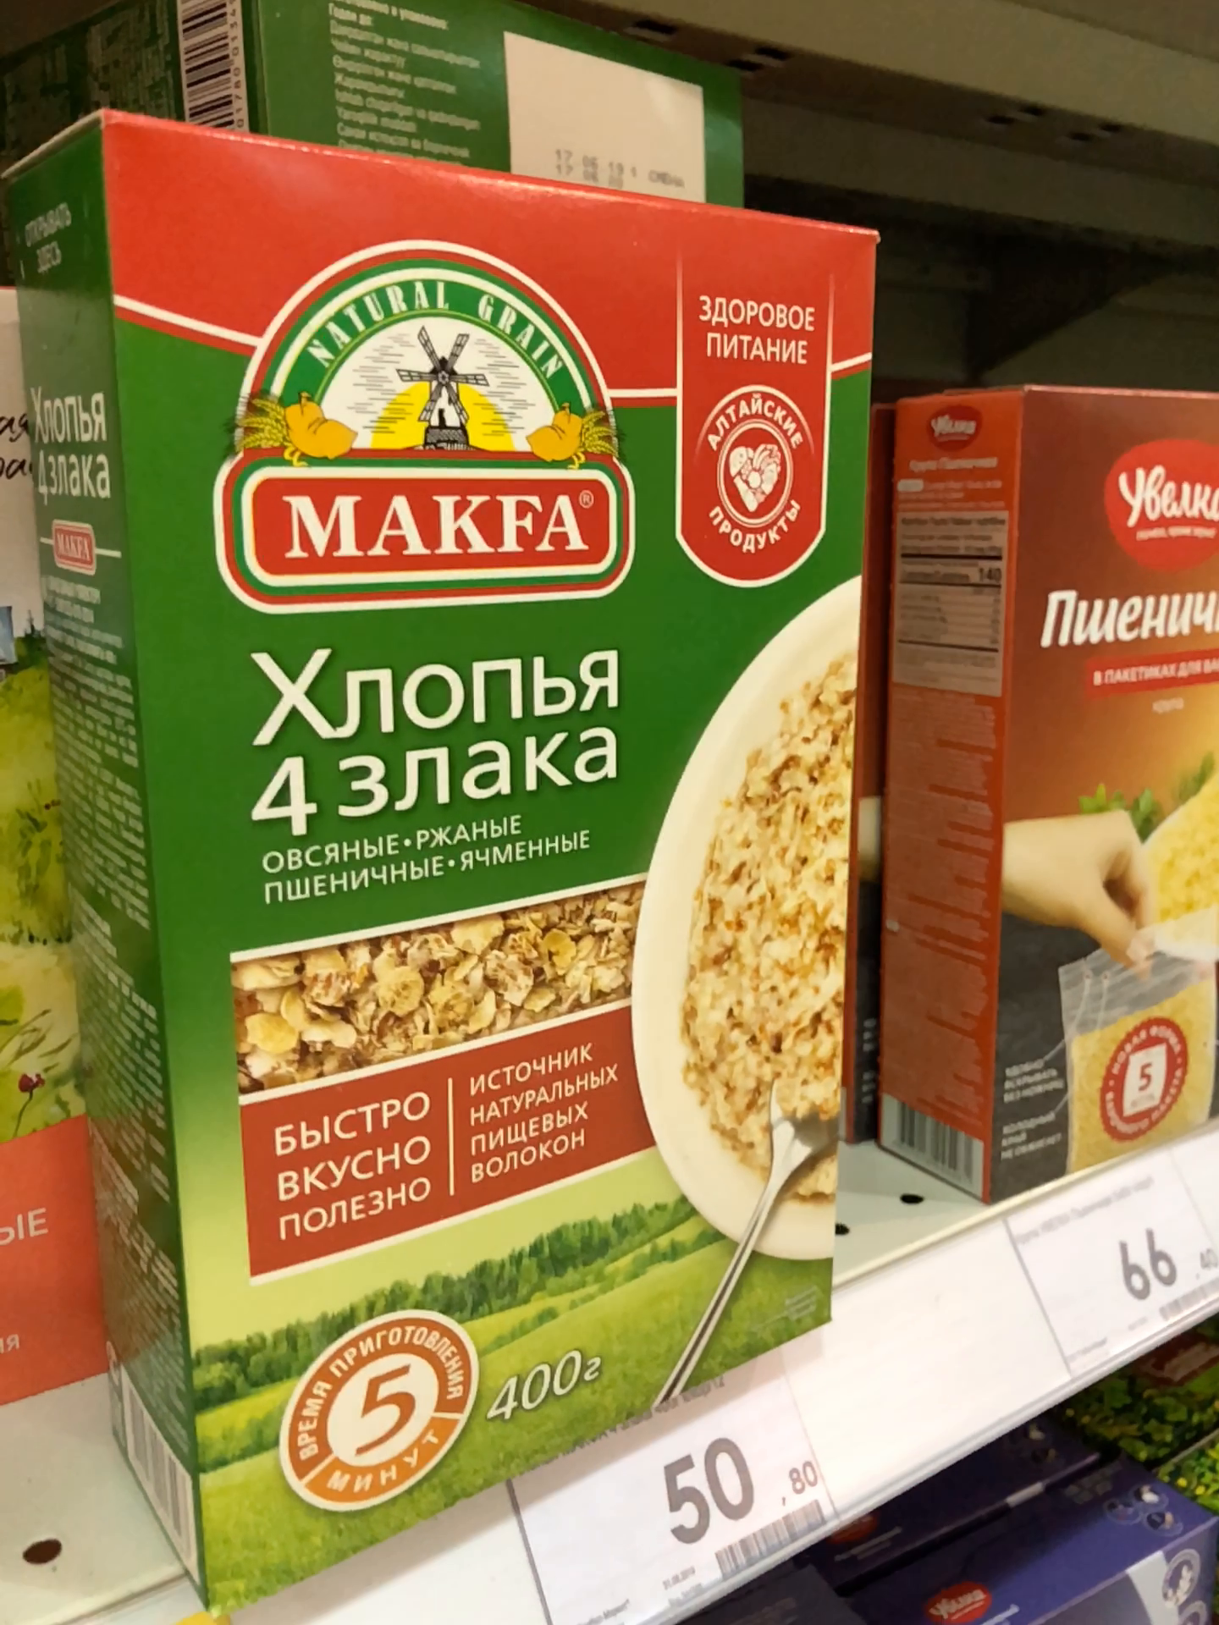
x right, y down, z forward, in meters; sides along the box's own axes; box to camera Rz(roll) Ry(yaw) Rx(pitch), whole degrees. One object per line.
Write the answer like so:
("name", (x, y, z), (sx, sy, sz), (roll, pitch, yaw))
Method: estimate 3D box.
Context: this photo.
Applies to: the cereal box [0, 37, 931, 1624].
("cereal box", (-0.019, 0.005, 0.229), (0.140, 0.209, 0.050), (-9, 16, -35))
